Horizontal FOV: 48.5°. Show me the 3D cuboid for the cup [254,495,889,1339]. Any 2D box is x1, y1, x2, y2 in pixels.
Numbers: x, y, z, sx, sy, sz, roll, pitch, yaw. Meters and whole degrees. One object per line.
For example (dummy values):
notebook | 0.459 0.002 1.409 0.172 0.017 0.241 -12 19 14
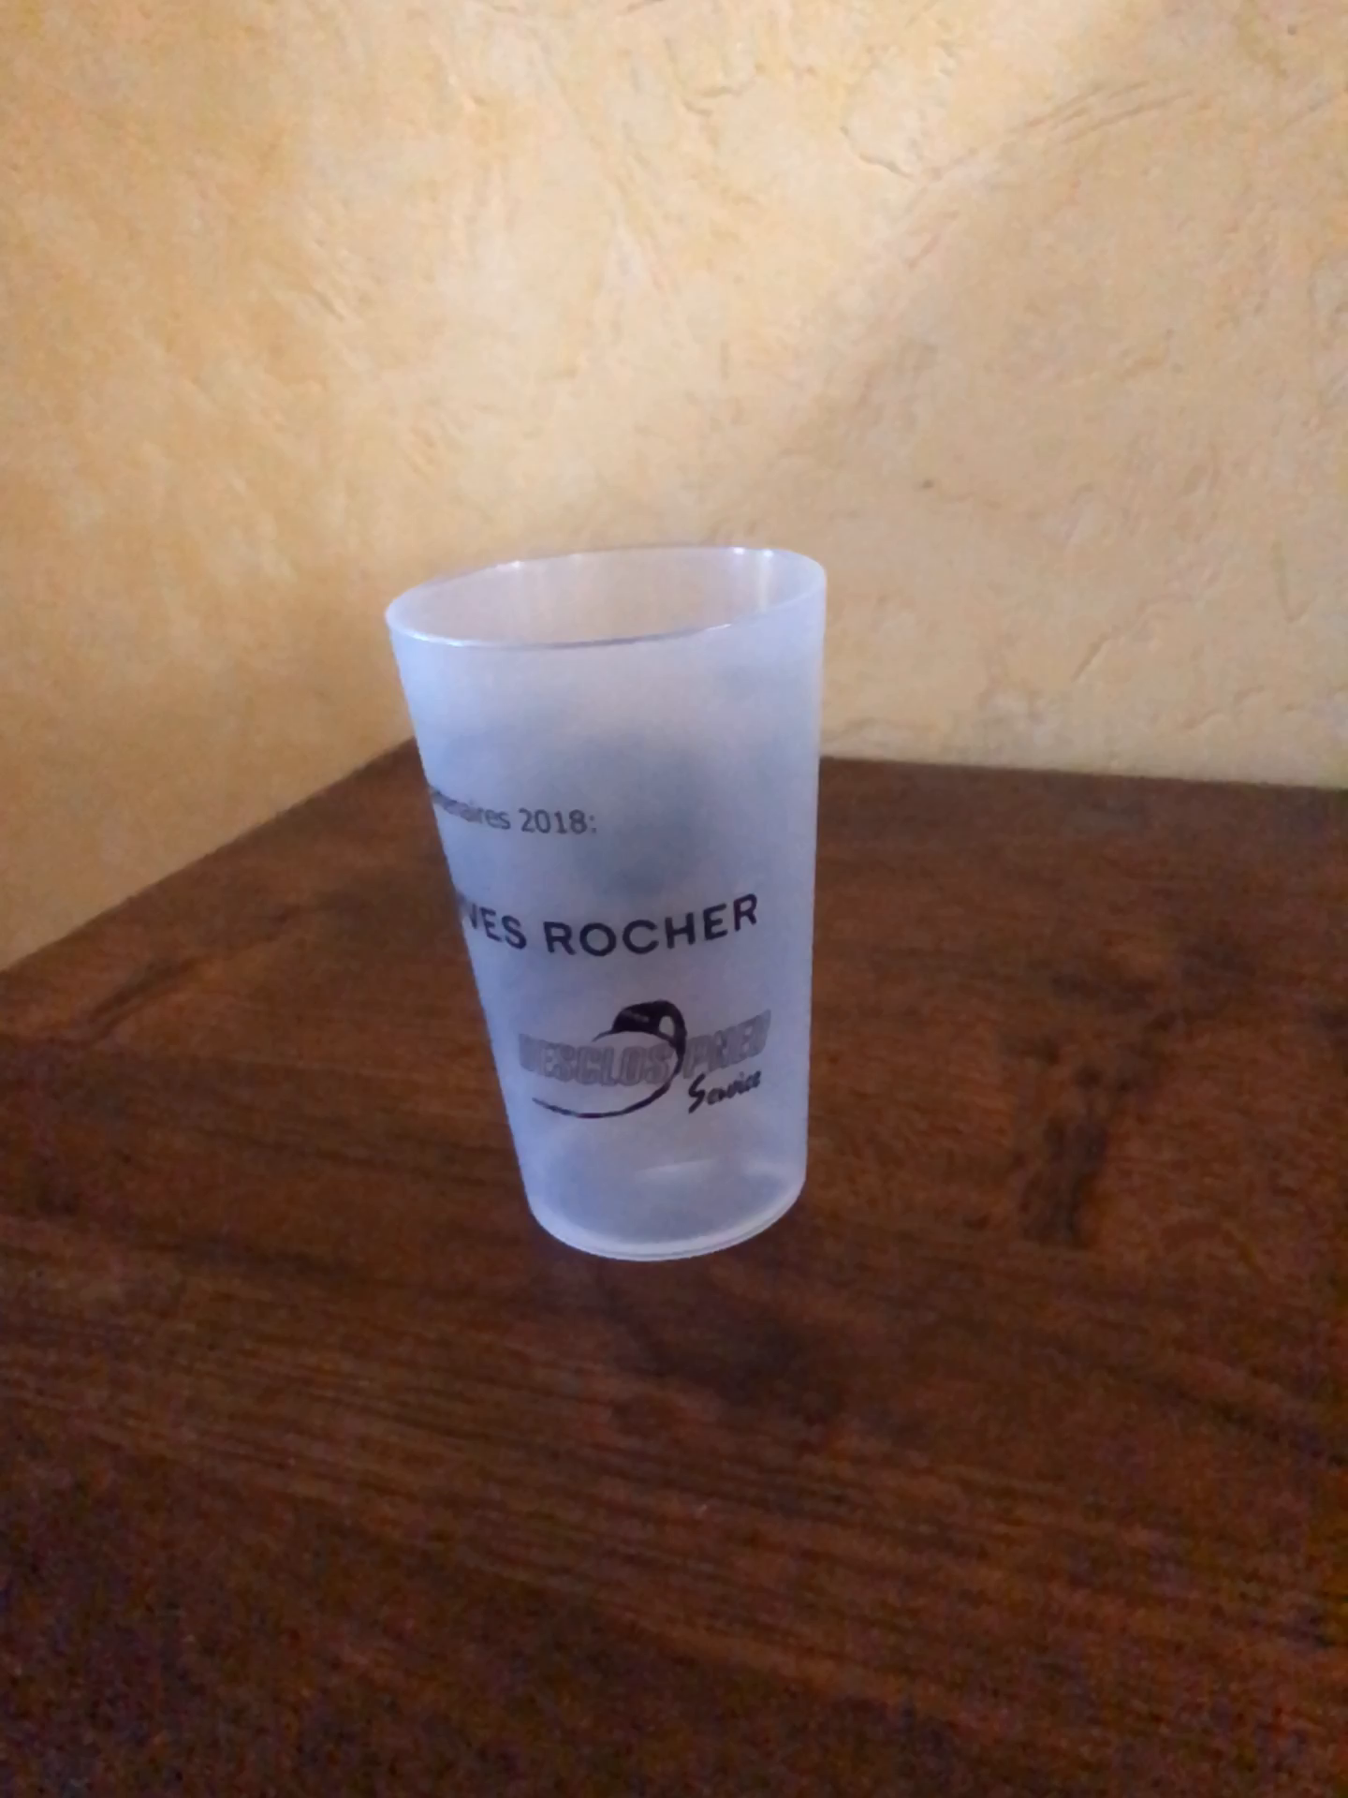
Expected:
cup | -0.012 -0.003 0.264 0.070 0.119 0.070 -5 24 2
